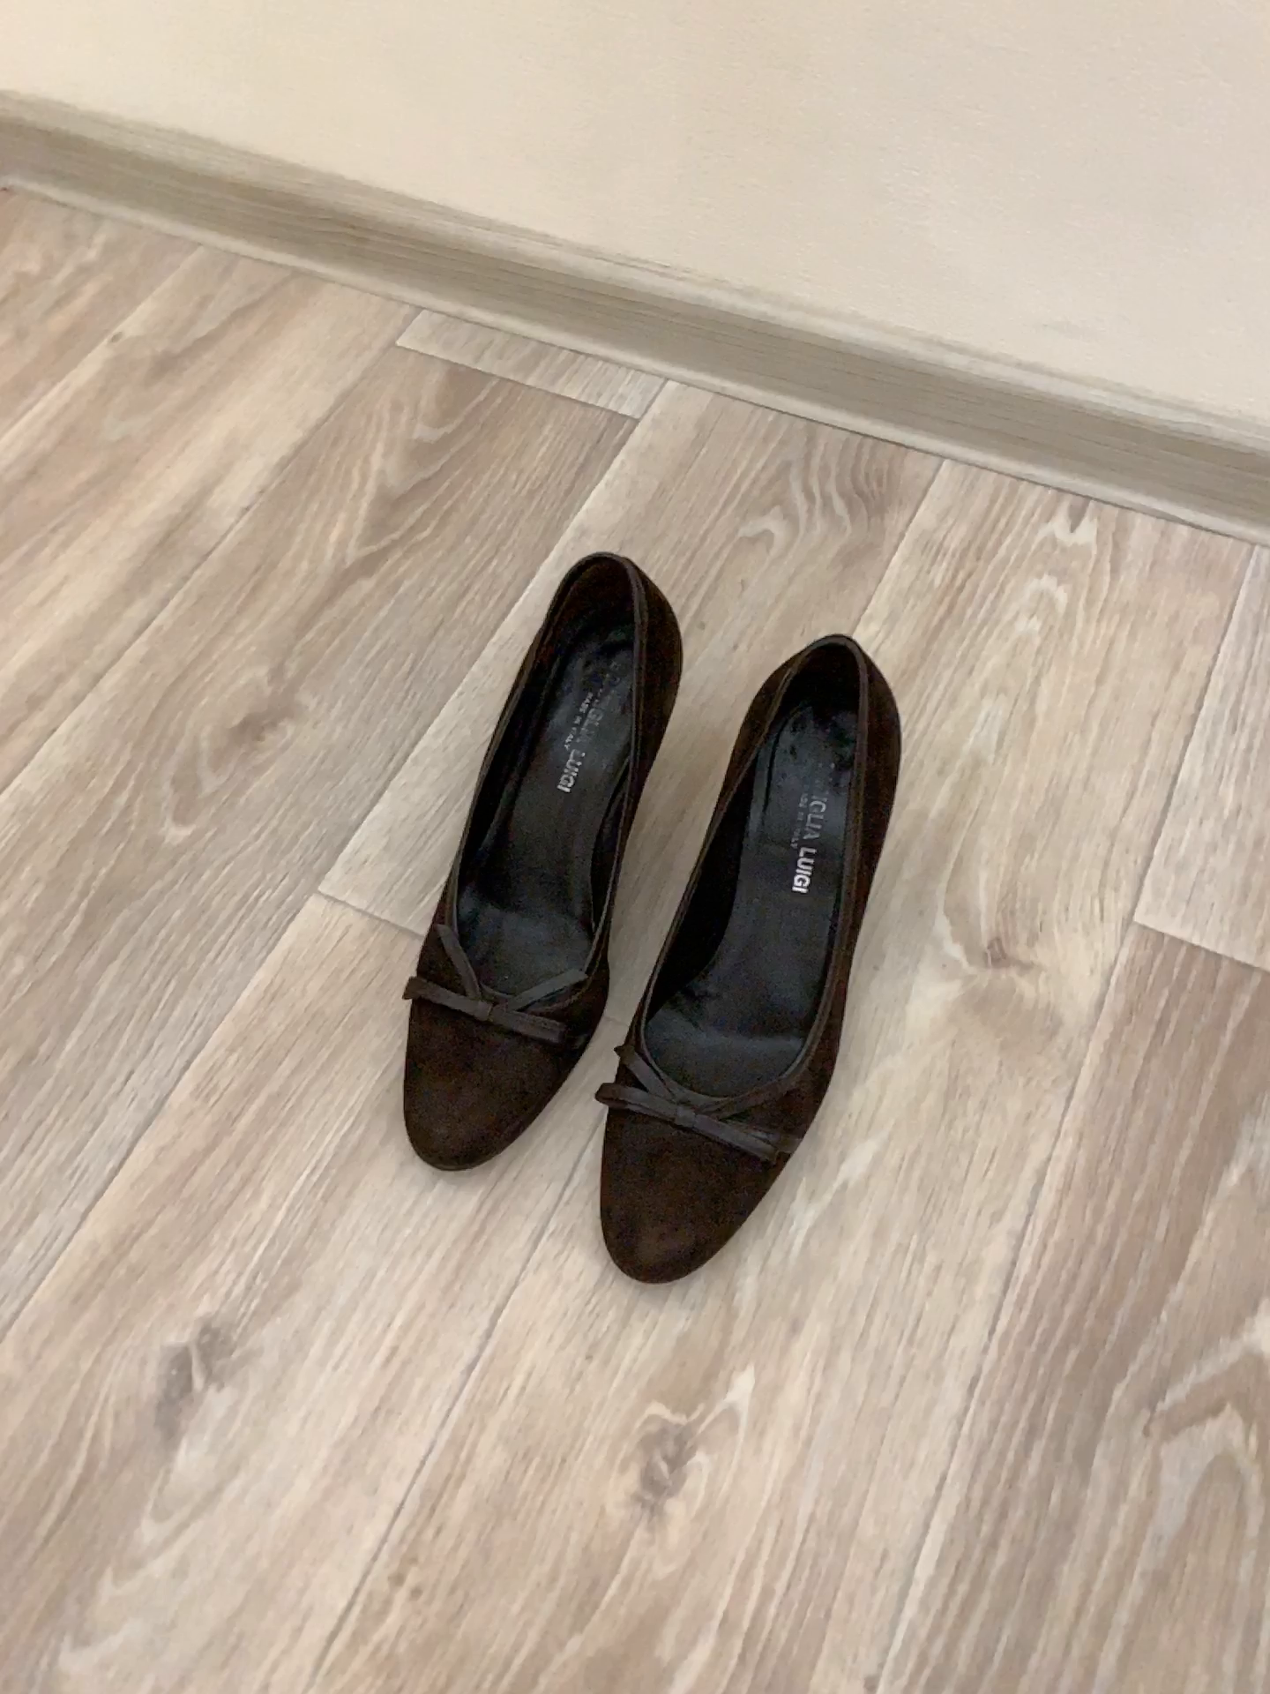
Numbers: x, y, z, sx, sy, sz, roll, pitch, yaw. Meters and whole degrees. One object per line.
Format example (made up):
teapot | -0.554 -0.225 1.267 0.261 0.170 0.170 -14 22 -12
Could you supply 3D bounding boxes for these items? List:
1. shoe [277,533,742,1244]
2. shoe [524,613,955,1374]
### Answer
shoe | -0.035 0.011 0.531 0.080 0.110 0.261 16 61 12
shoe | 0.048 0.050 0.504 0.080 0.110 0.261 15 61 12
